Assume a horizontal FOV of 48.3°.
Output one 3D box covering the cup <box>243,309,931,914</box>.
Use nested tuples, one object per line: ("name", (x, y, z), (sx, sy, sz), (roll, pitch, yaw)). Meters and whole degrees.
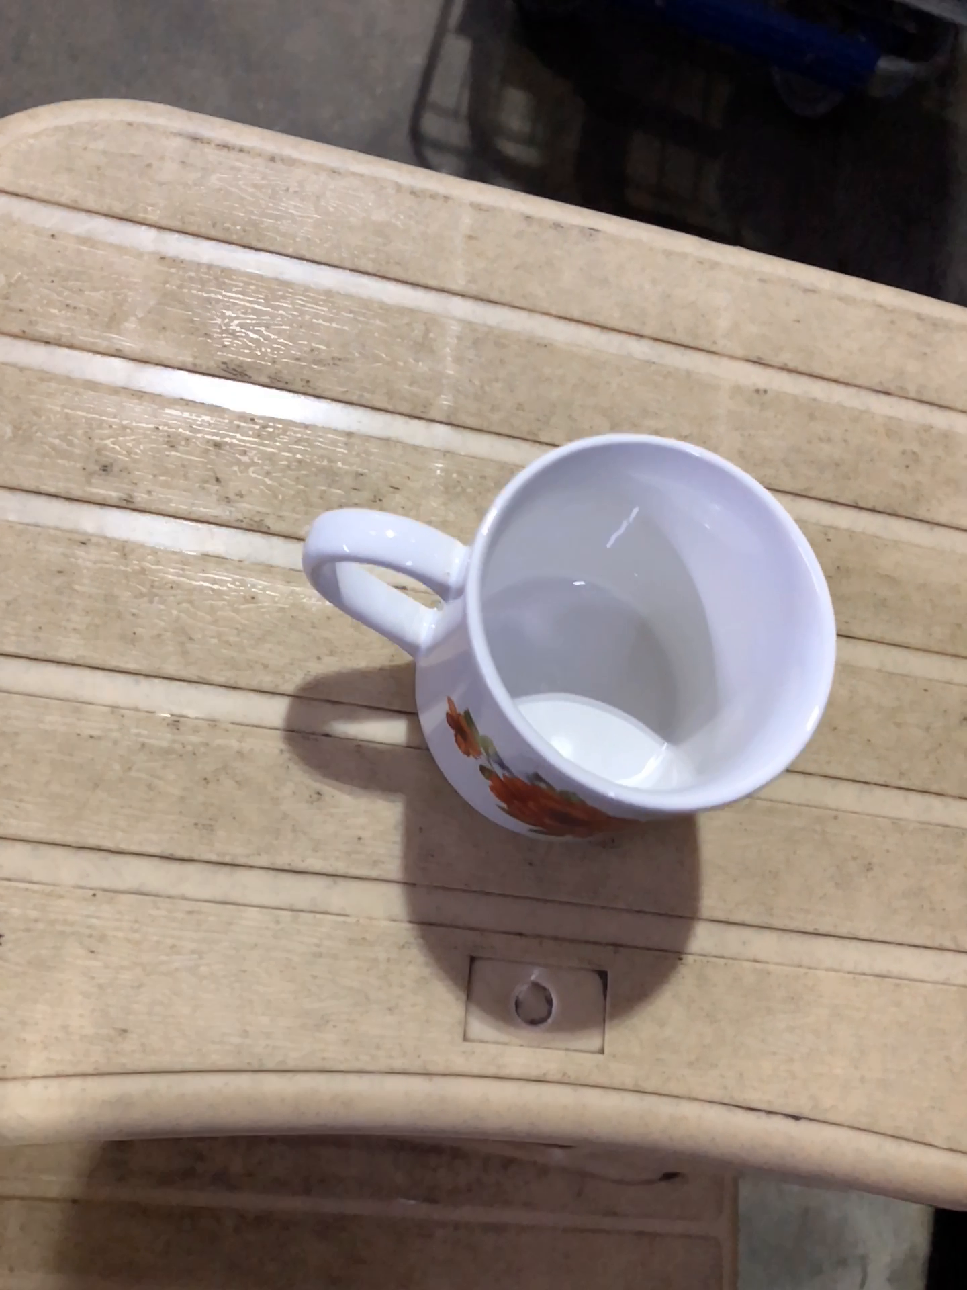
("cup", (0.016, 0.001, 0.196), (0.100, 0.060, 0.070), (16, 70, -9))
